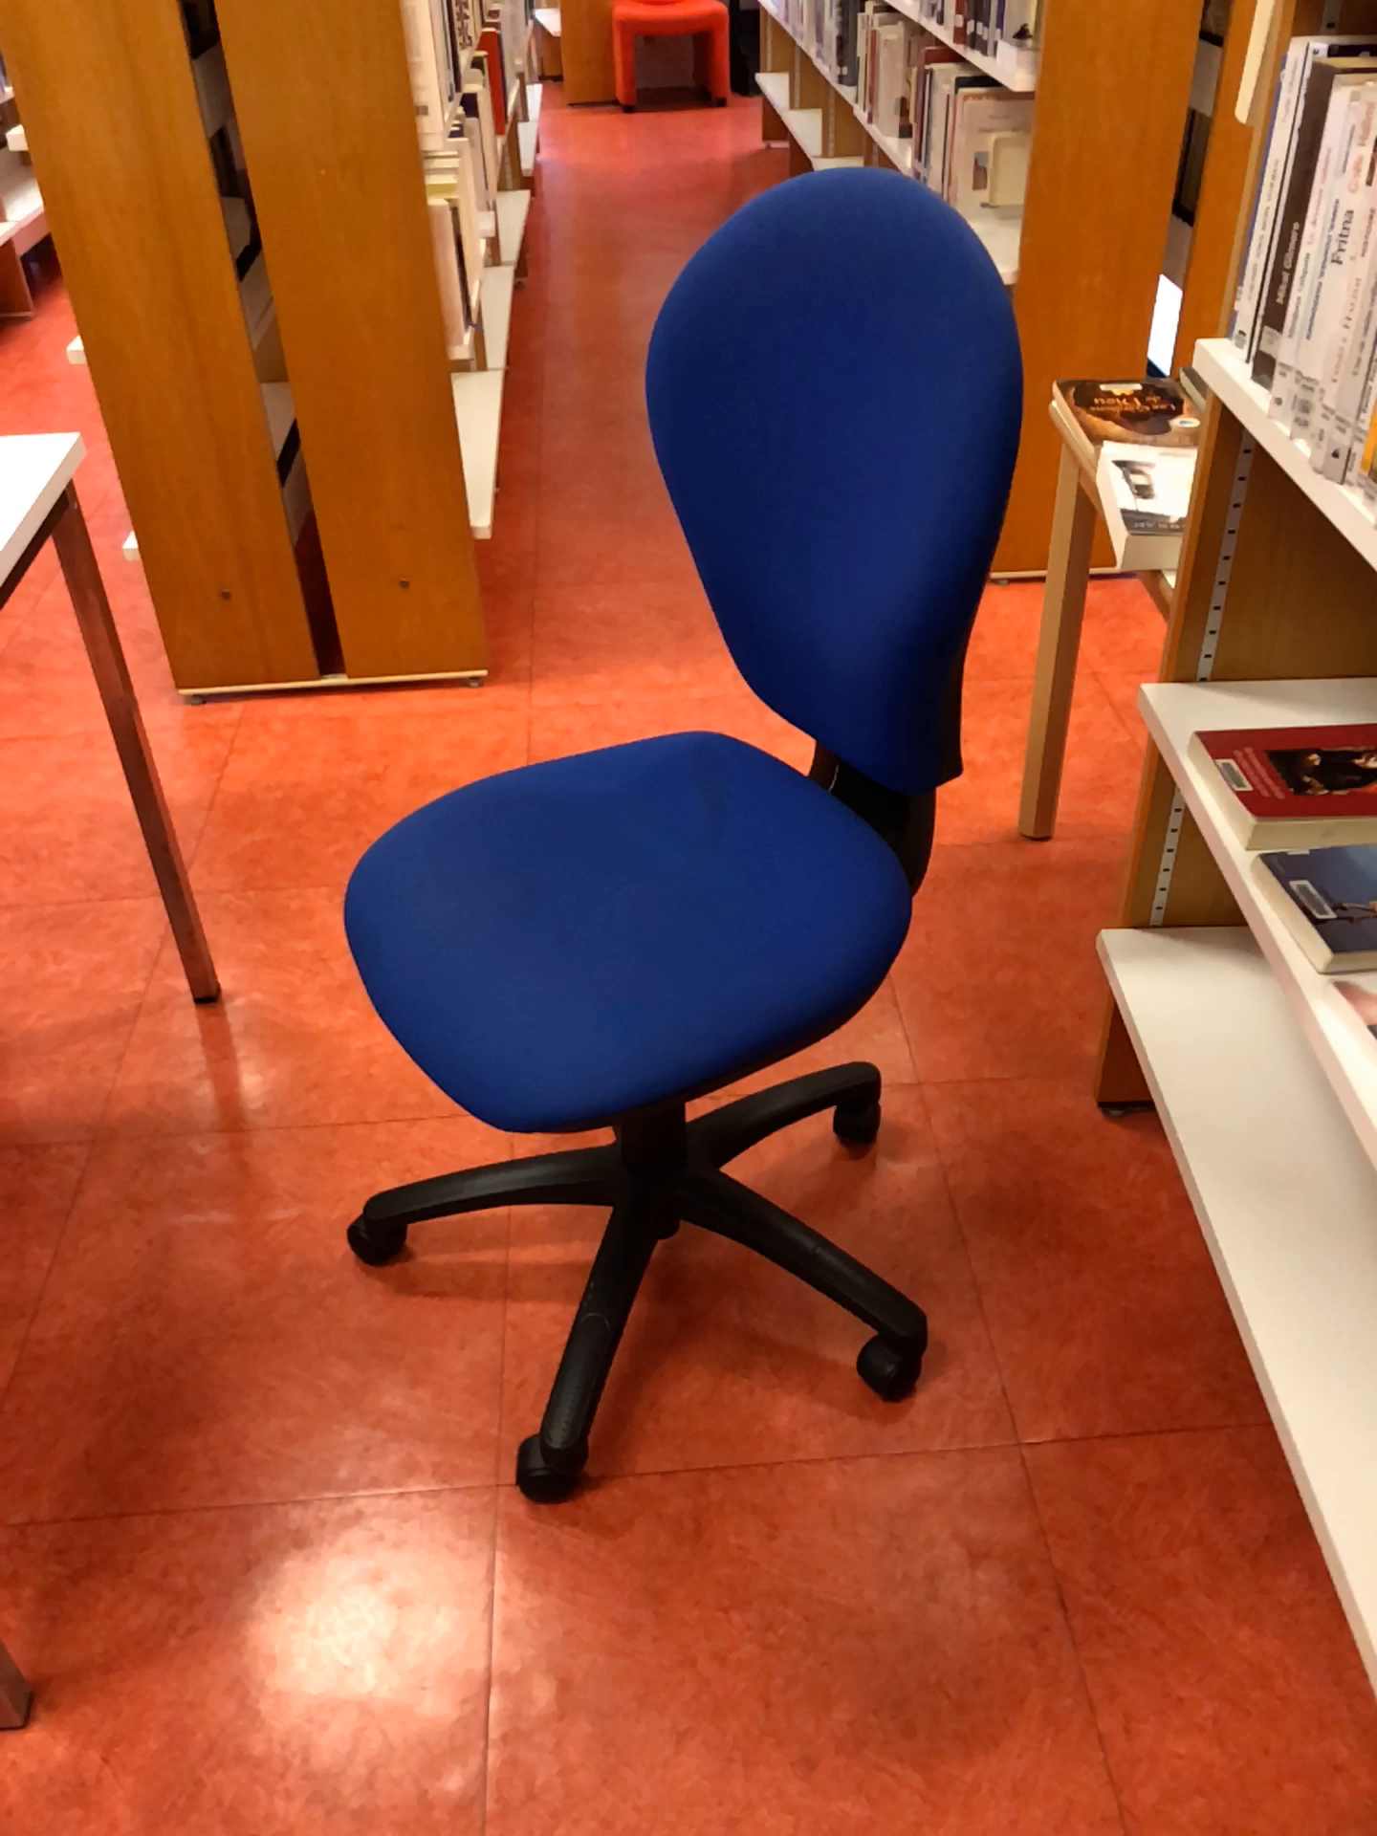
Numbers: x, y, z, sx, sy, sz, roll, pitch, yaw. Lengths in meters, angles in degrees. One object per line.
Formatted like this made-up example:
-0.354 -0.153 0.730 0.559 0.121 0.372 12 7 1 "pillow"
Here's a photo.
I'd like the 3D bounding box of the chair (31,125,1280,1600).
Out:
-0.064 -0.084 1.282 0.622 0.914 0.662 -17 39 -19 "chair"
